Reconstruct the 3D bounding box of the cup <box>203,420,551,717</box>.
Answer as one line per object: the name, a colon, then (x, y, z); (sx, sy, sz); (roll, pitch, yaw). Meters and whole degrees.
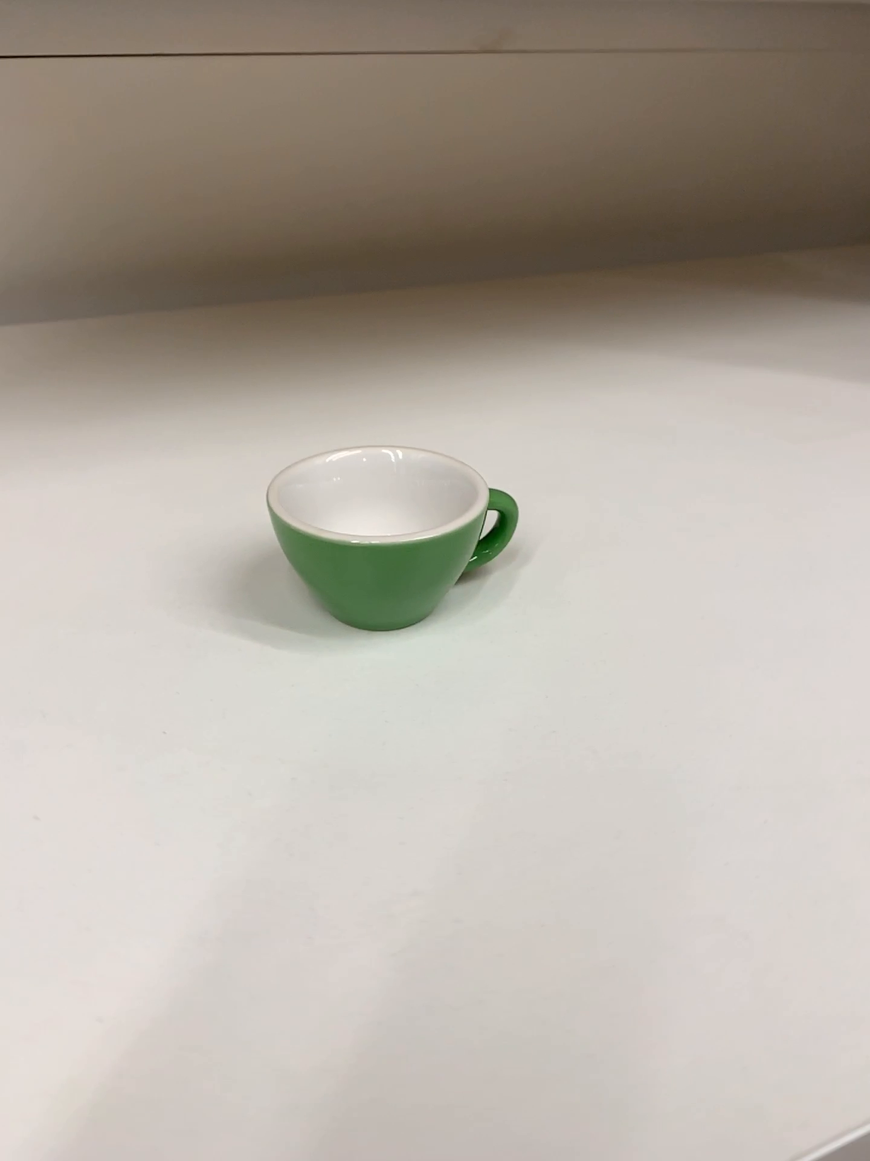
cup: (-0.017, -0.007, 0.235); (0.070, 0.040, 0.060); (-12, 34, -19)
